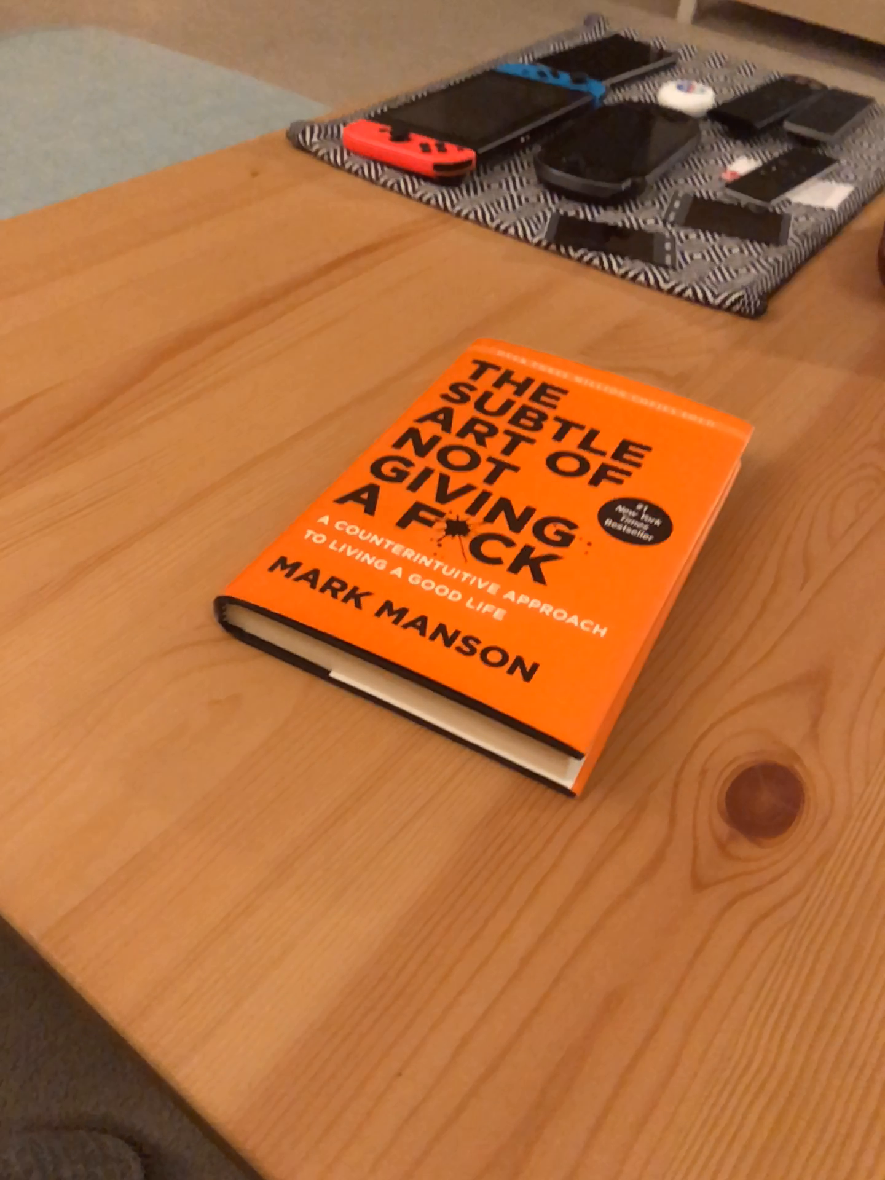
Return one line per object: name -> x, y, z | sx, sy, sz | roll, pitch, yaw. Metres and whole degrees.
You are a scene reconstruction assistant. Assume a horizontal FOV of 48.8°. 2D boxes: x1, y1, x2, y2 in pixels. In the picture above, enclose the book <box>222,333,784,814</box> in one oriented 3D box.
book -> 0.038, -0.028, 0.430 | 0.160, 0.030, 0.221 | 23, 48, 18
